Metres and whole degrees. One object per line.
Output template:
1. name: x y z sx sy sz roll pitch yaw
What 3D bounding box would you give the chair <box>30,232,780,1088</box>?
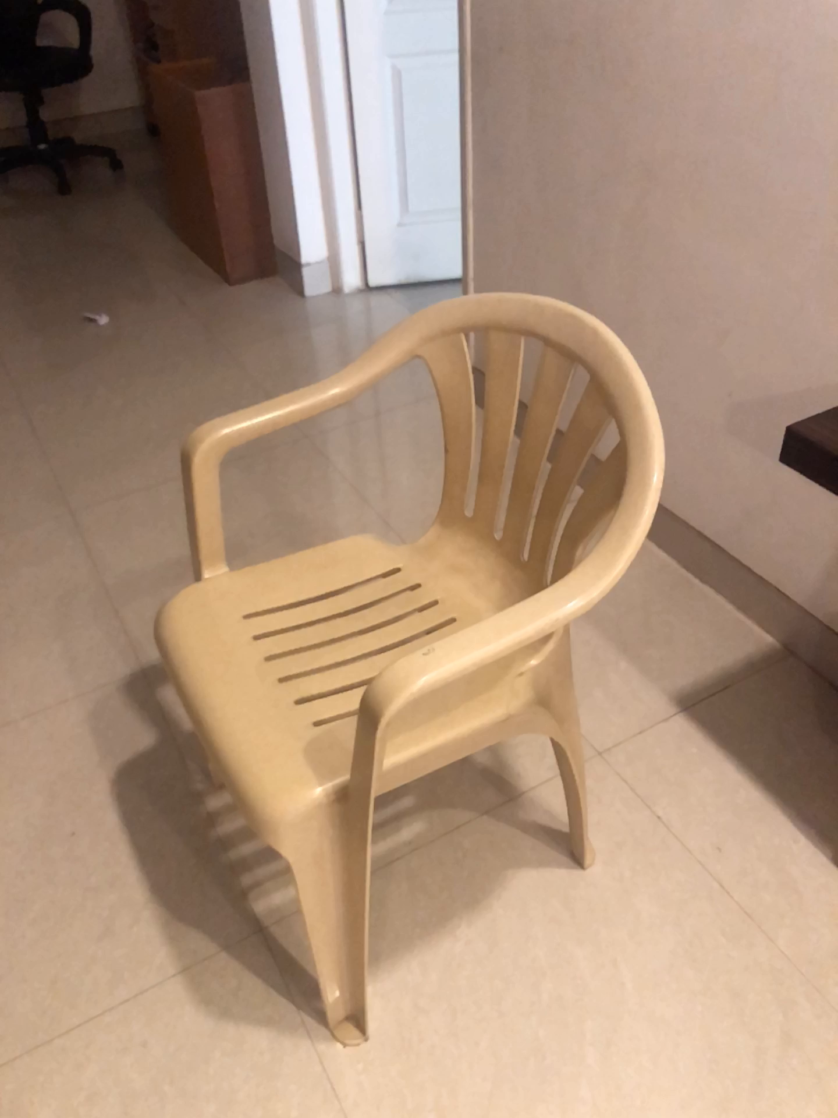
1. chair: -0.031 0.101 1.220 0.591 0.774 0.573 -22 42 -22
